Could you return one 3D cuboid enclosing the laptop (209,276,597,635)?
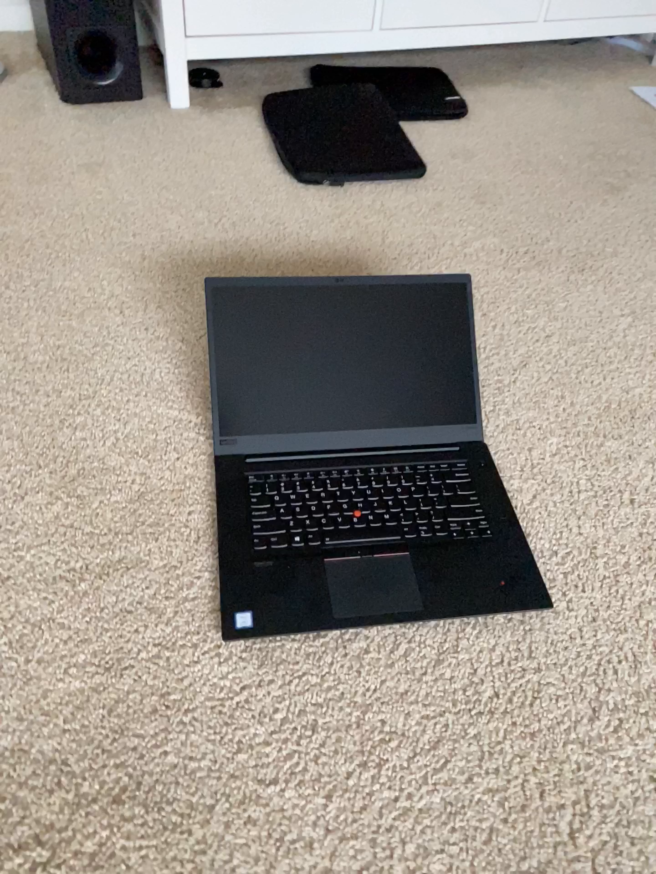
[{"bbox_3d":[0.047,-0.010,0.812,0.360,0.141,0.434,-3,48,-9],"label":"laptop"}]
